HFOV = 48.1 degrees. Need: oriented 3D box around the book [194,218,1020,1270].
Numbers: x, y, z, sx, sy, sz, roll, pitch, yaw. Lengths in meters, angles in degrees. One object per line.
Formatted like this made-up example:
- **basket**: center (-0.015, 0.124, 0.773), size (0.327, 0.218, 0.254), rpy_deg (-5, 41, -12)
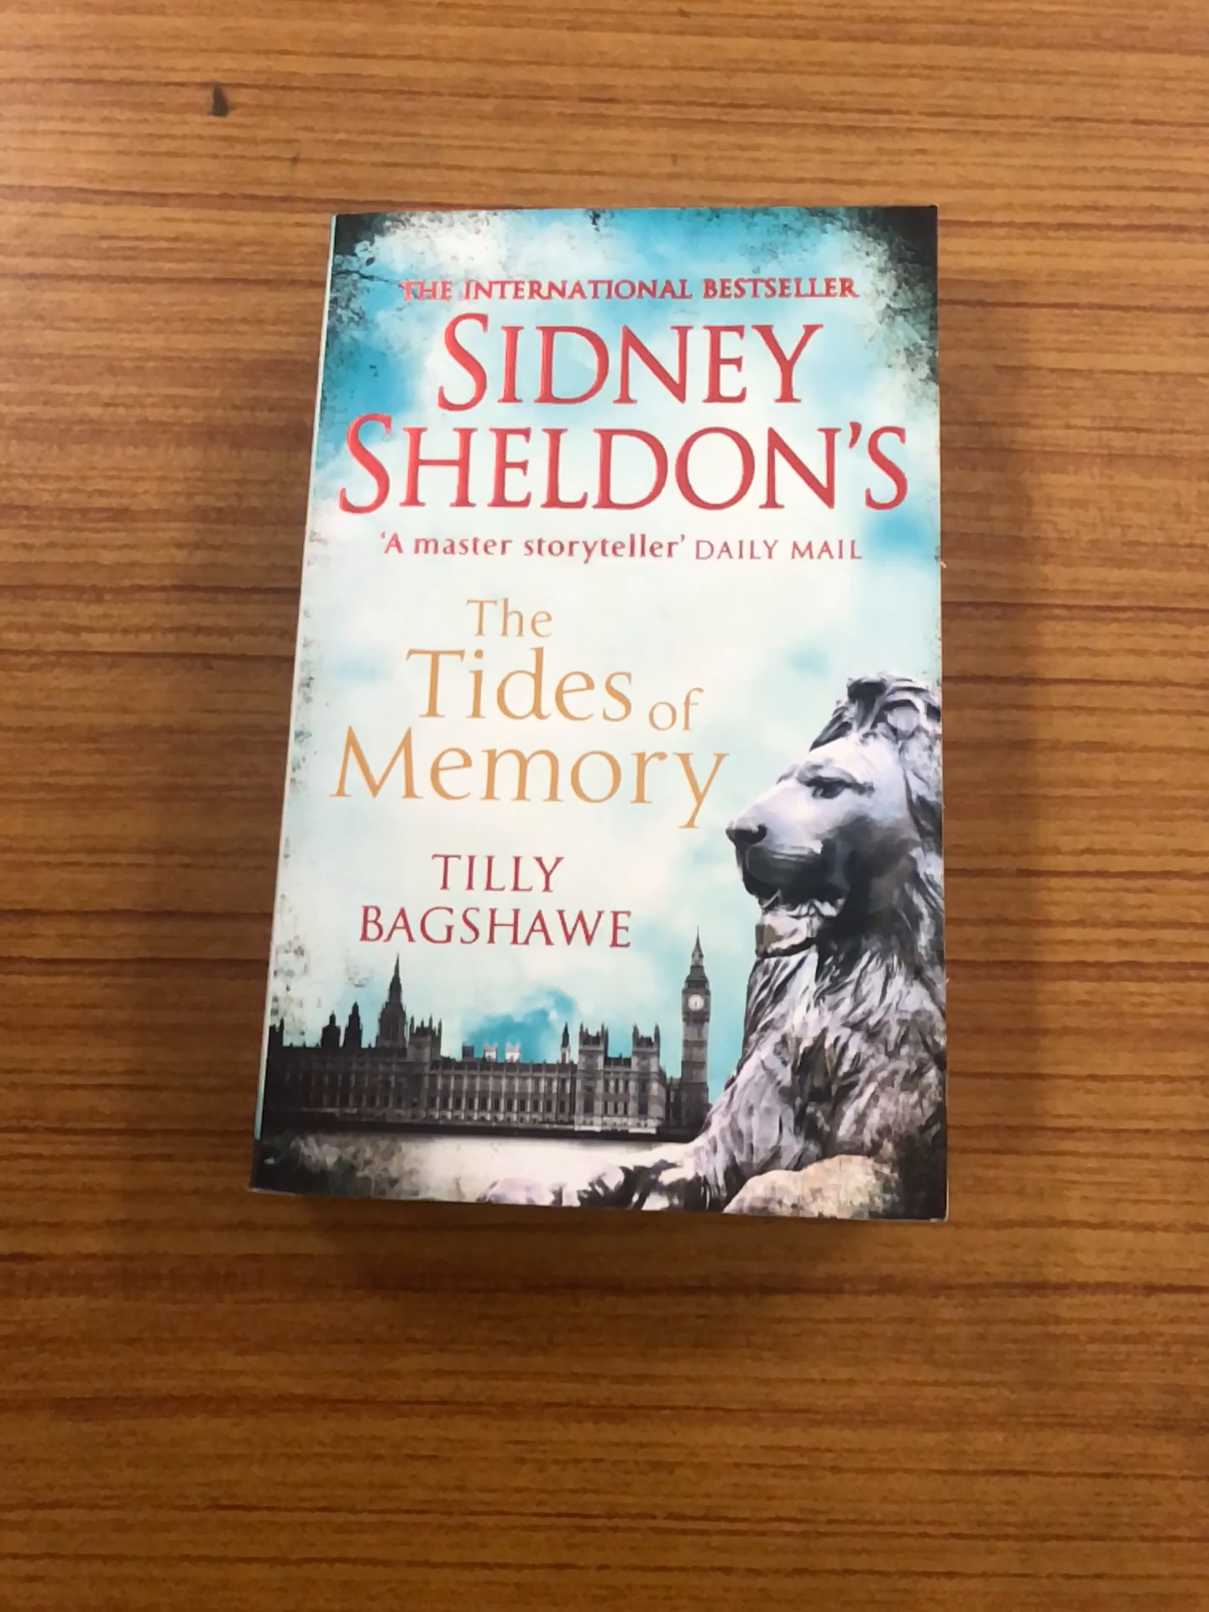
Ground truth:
- **book**: center (0.003, -0.013, 0.233), size (0.122, 0.038, 0.168), rpy_deg (1, 79, 4)
